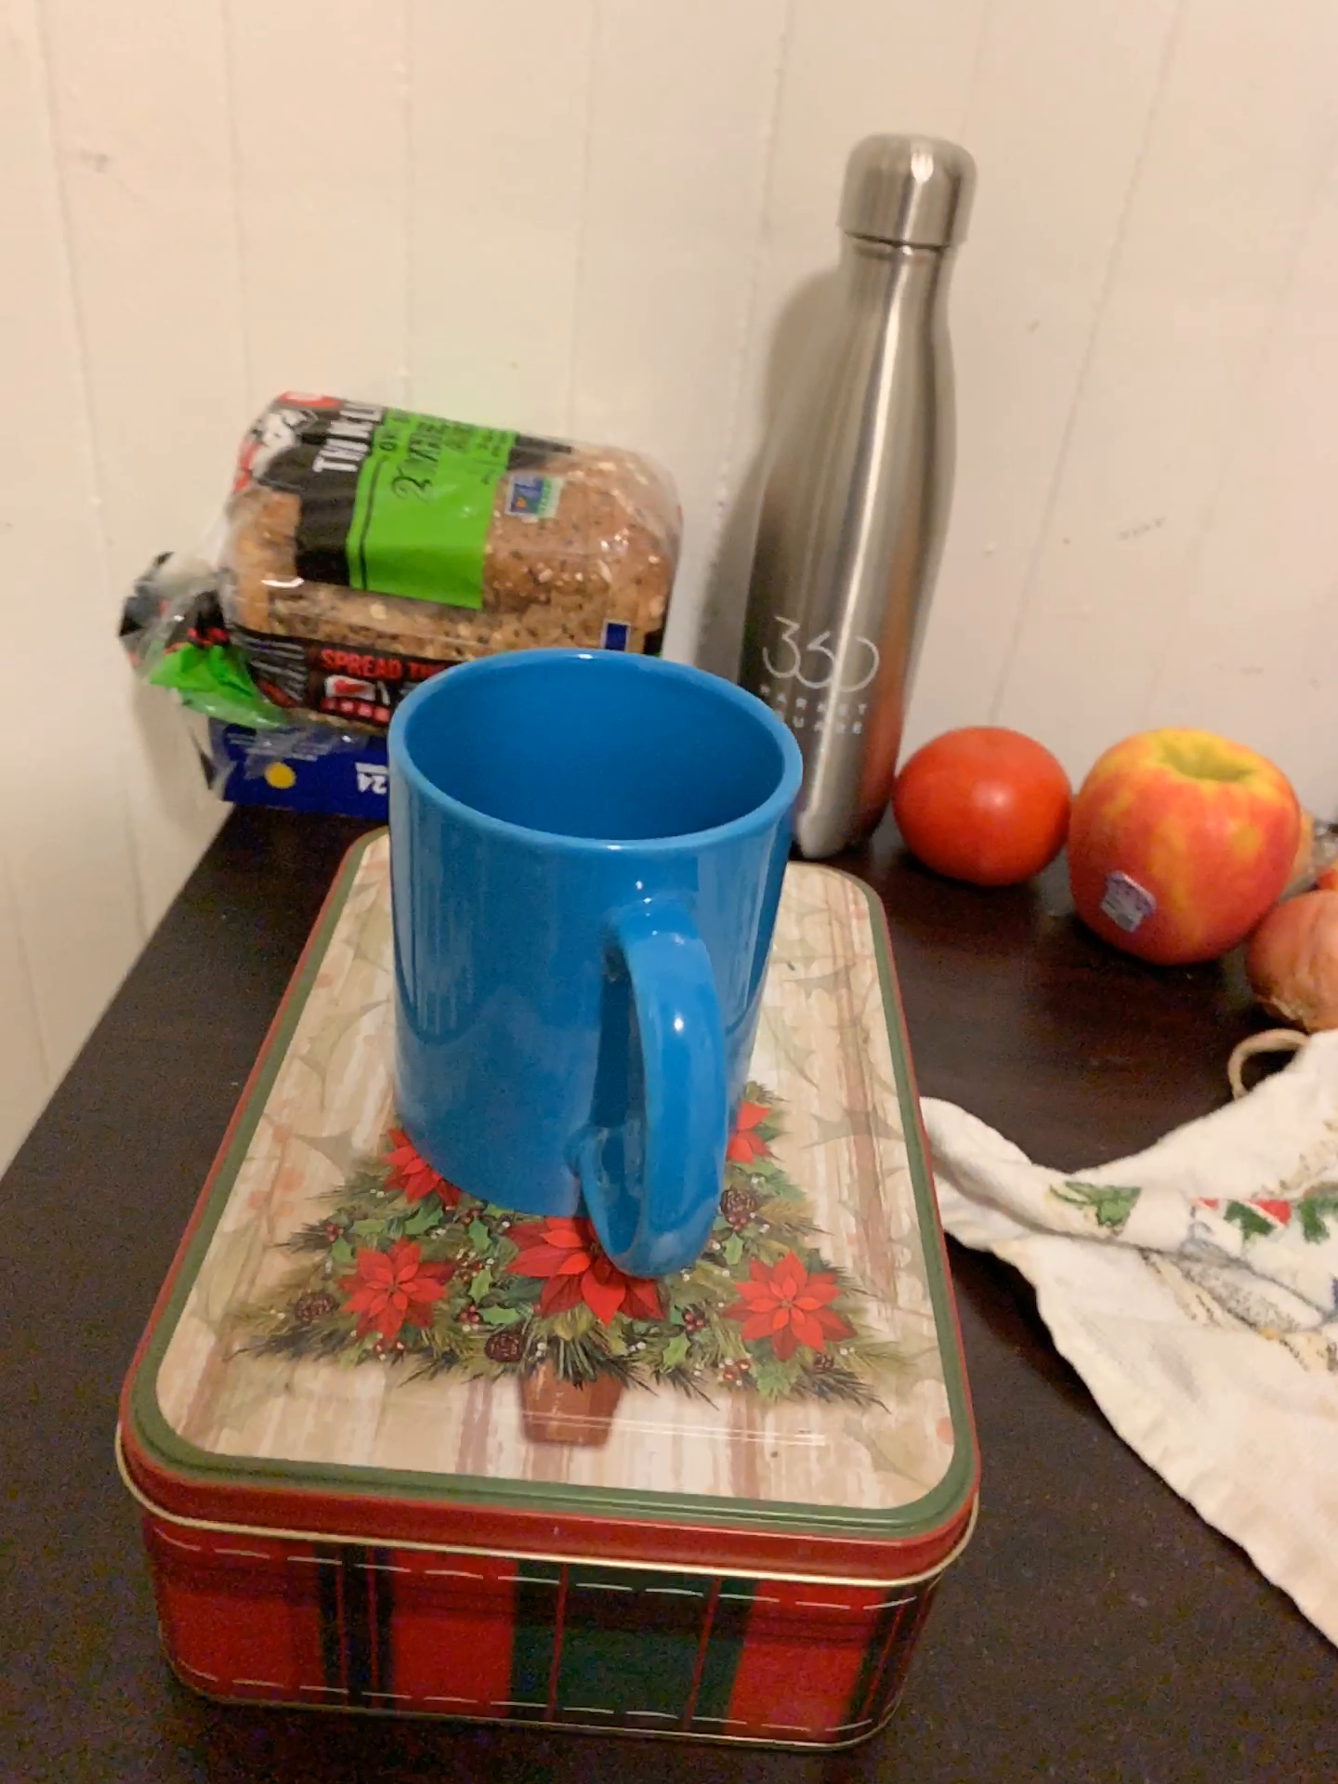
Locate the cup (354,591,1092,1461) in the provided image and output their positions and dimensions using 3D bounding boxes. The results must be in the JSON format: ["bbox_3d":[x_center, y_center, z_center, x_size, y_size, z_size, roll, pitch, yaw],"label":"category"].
[{"bbox_3d":[-0.004,0.015,0.275,0.090,0.099,0.131,-8,37,-20],"label":"cup"}]
